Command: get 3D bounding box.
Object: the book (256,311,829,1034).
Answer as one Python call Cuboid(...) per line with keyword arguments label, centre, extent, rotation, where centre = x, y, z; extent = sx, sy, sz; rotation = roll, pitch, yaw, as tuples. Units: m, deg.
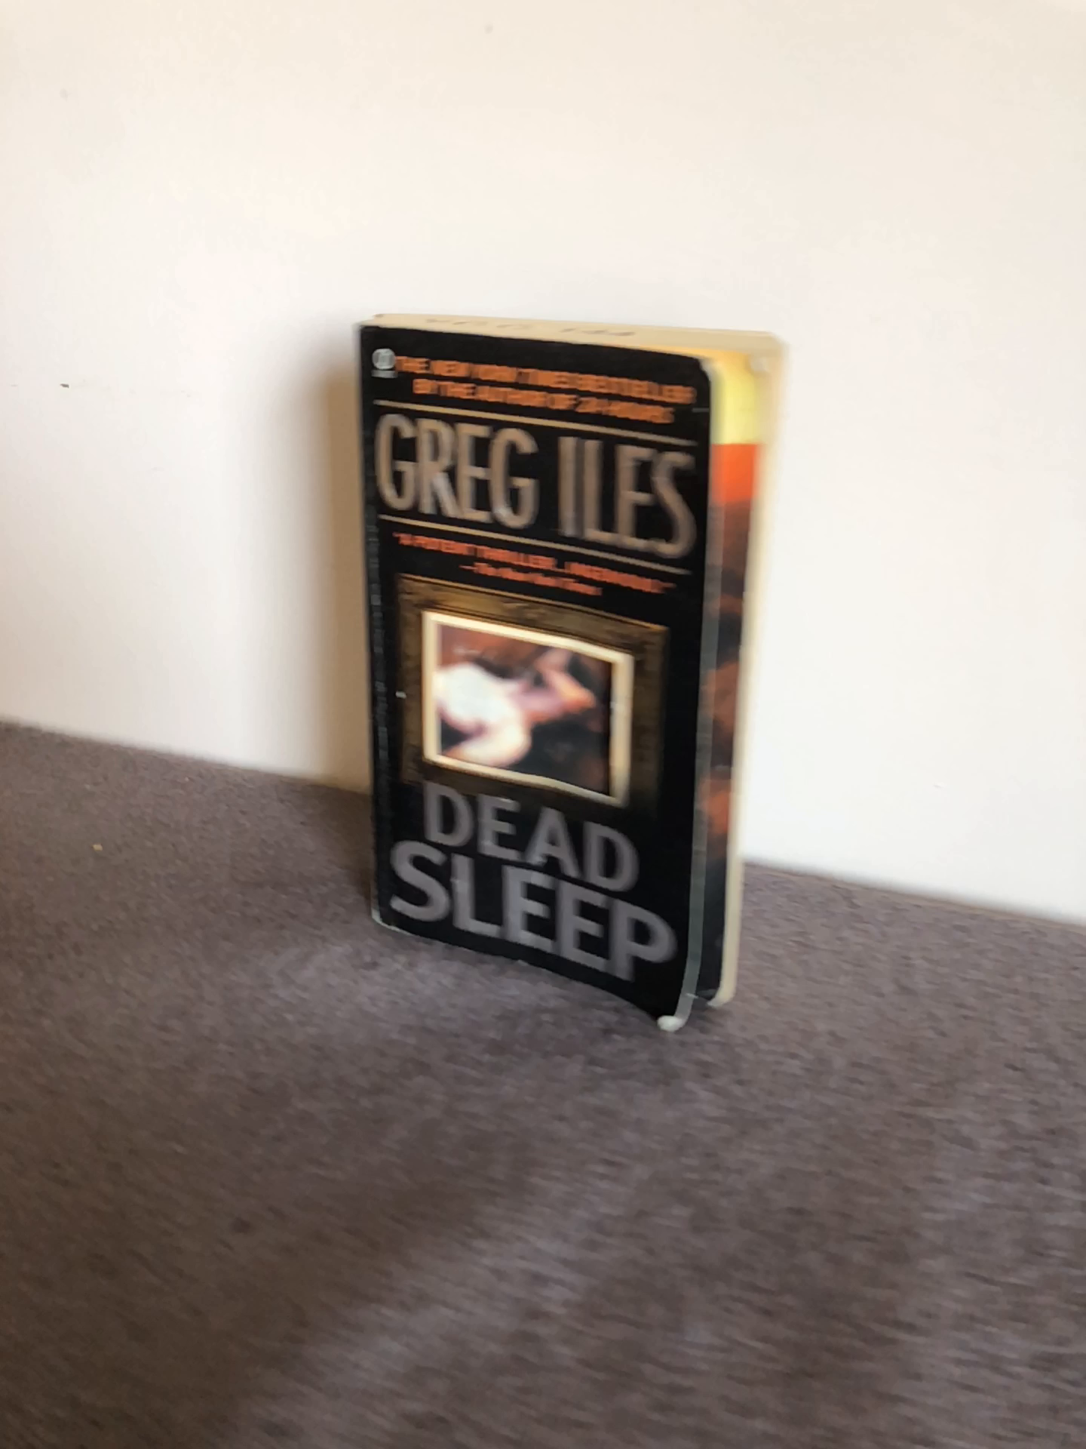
Cuboid(label="book", centre=(0.000, -0.019, 0.318), extent=(0.123, 0.163, 0.061), rotation=(10, 24, 22))
